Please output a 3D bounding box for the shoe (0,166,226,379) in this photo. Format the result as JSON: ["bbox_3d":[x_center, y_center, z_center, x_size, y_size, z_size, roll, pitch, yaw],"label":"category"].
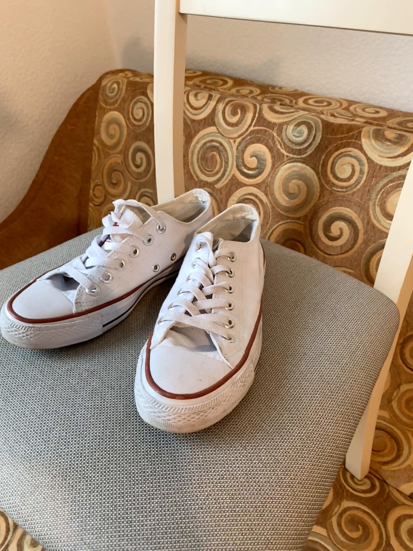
[{"bbox_3d":[-0.087,-0.019,0.392,0.090,0.060,0.220,28,50,31],"label":"shoe"}]

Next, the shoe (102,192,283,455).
[{"bbox_3d":[0.006,0.018,0.348,0.090,0.060,0.221,6,42,11],"label":"shoe"}]
